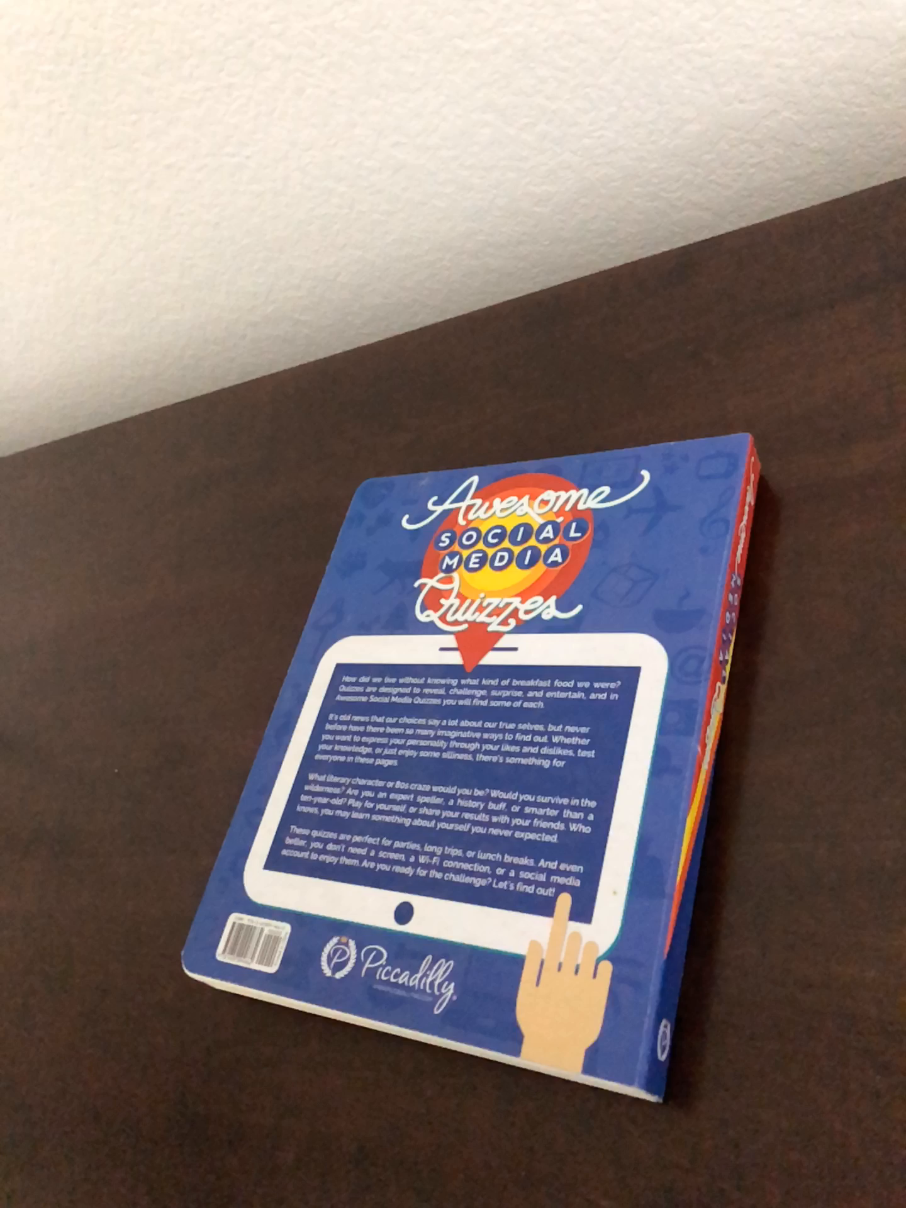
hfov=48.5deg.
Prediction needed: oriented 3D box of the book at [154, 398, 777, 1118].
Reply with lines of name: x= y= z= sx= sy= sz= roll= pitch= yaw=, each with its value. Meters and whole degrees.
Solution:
book: x=0.008 y=0.035 z=0.342 sx=0.173 sy=0.030 sz=0.215 roll=-2 pitch=59 yaw=33
